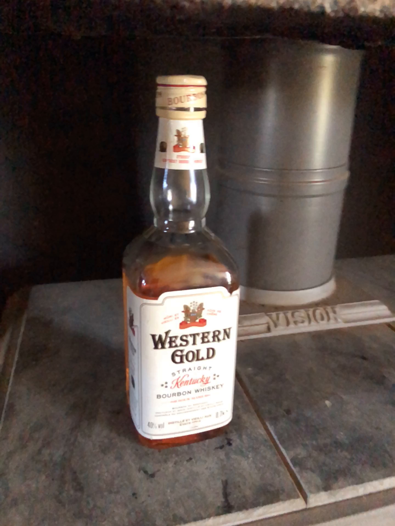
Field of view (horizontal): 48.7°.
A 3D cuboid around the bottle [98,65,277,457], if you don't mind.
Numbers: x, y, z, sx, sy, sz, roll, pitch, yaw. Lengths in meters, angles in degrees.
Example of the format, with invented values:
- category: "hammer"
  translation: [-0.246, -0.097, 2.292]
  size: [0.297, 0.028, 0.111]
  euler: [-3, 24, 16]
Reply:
- category: "bottle"
  translation: [-0.011, 0.000, 0.307]
  size: [0.090, 0.249, 0.080]
  euler: [-6, 22, -15]
